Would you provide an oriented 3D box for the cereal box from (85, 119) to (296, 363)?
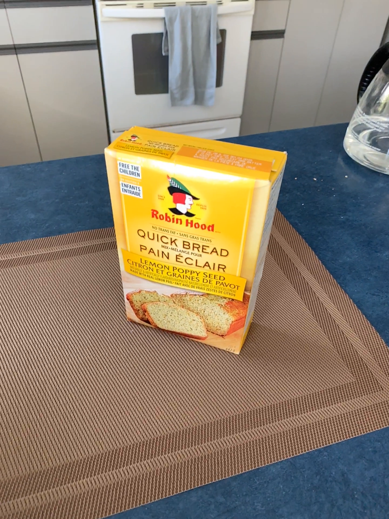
[{"bbox_3d":[-0.006,-0.006,0.317,0.130,0.178,0.040,15,43,14],"label":"cereal box"}]
